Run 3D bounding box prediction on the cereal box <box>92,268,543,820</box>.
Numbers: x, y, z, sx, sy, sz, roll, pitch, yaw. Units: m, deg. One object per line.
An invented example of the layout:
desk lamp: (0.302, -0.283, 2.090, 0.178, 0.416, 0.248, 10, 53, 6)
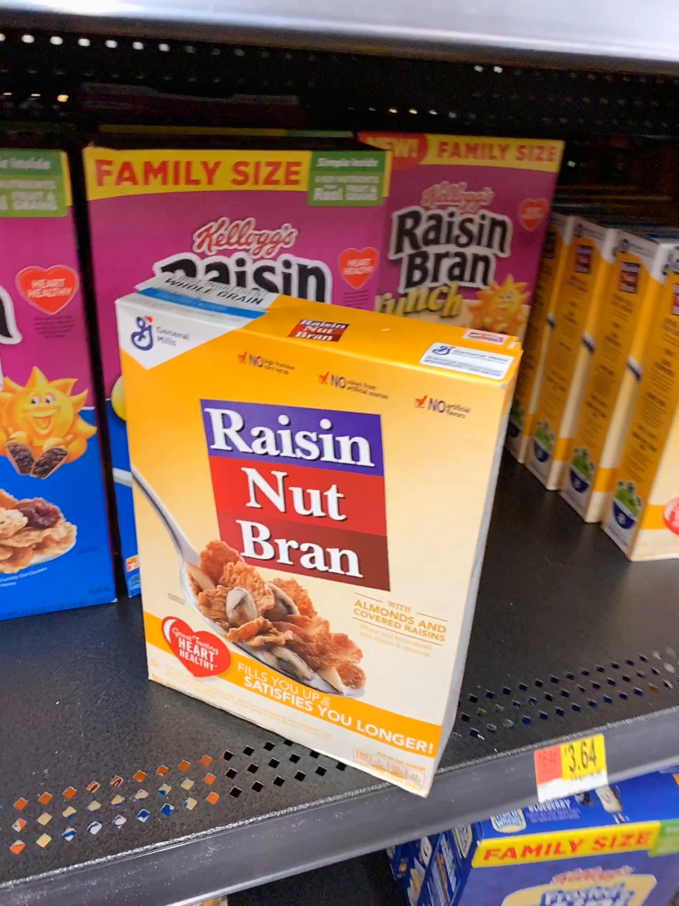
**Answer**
cereal box: (-0.022, 0.052, 0.383, 0.200, 0.259, 0.060, 16, 31, 19)
